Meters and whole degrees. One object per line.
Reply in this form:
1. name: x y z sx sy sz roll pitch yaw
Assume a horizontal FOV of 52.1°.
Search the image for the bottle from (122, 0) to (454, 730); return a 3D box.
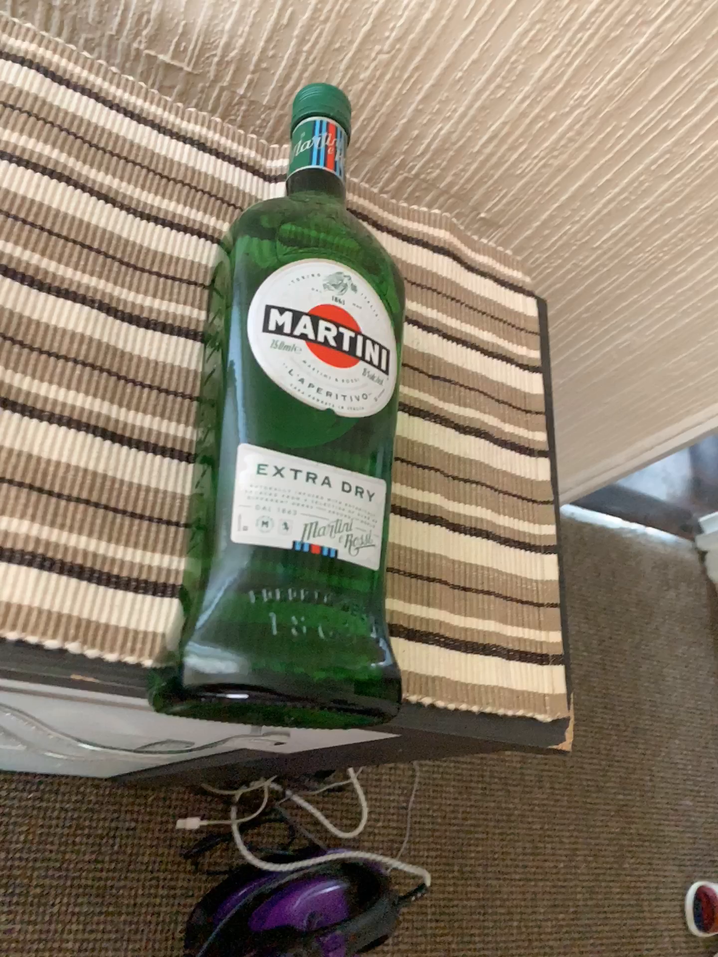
1. bottle: -0.019 -0.066 0.316 0.090 0.070 0.322 15 65 -25
